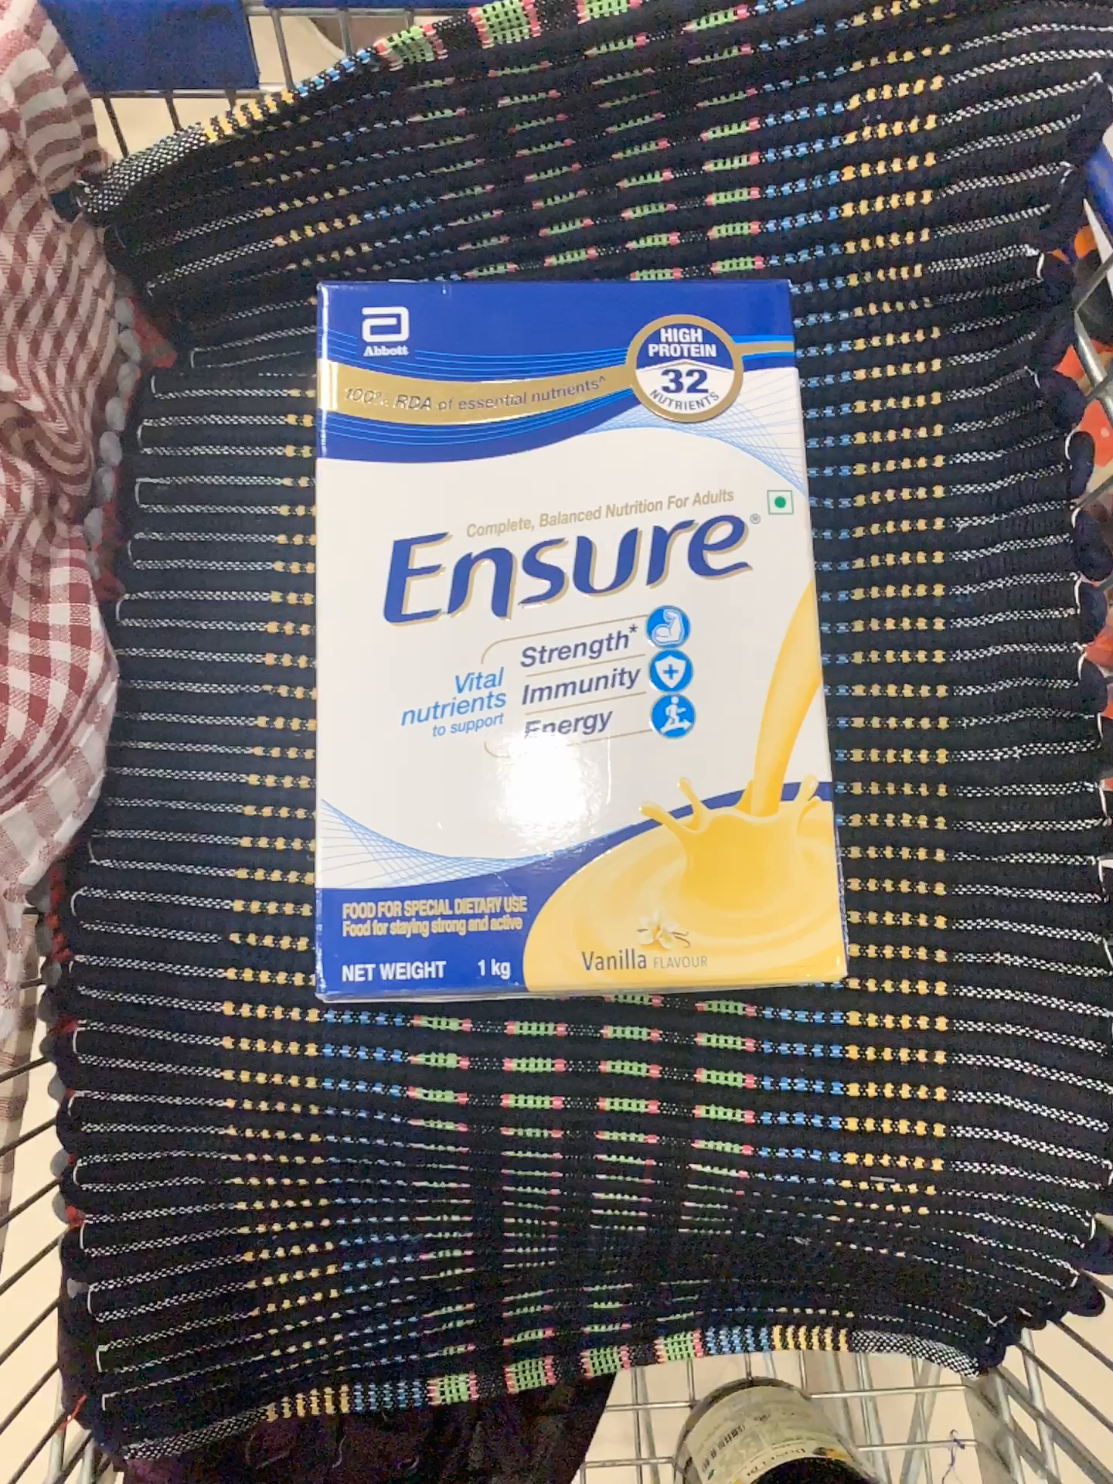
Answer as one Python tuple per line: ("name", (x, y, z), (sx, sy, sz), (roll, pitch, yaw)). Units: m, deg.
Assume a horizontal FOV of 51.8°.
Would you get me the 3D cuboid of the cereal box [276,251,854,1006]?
("cereal box", (-0.002, -0.031, 0.365), (0.150, 0.090, 0.220), (-1, 77, -3))
